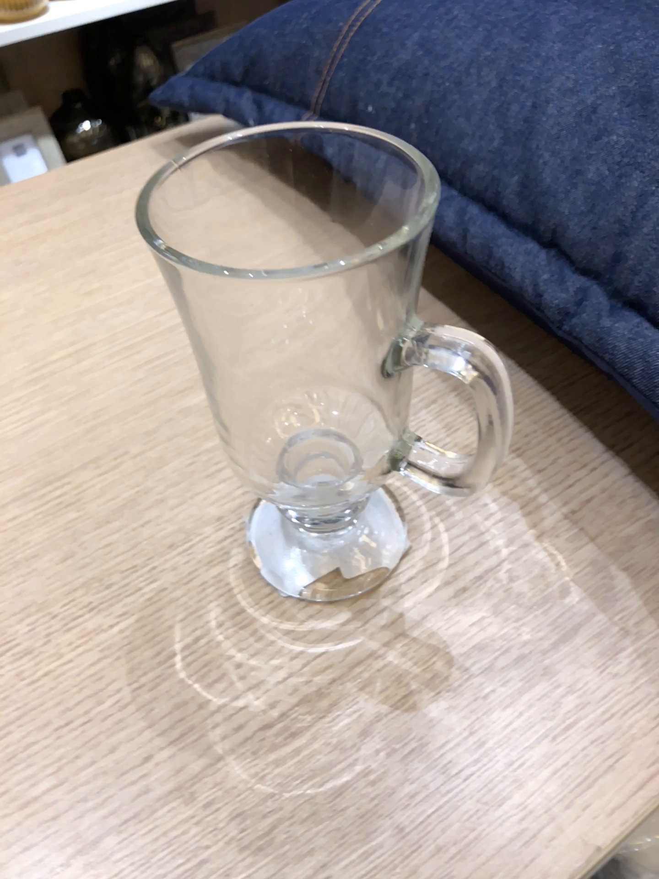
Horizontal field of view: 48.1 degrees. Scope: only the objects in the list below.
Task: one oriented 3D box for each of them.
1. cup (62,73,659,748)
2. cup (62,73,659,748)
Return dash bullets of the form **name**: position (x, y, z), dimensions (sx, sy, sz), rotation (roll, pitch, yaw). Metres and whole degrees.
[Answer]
- **cup**: position (0.007, -0.006, 0.226), dimensions (0.090, 0.149, 0.110), rotation (-33, 53, -23)
- **cup**: position (0.007, -0.006, 0.226), dimensions (0.090, 0.149, 0.110), rotation (-33, 53, -23)
